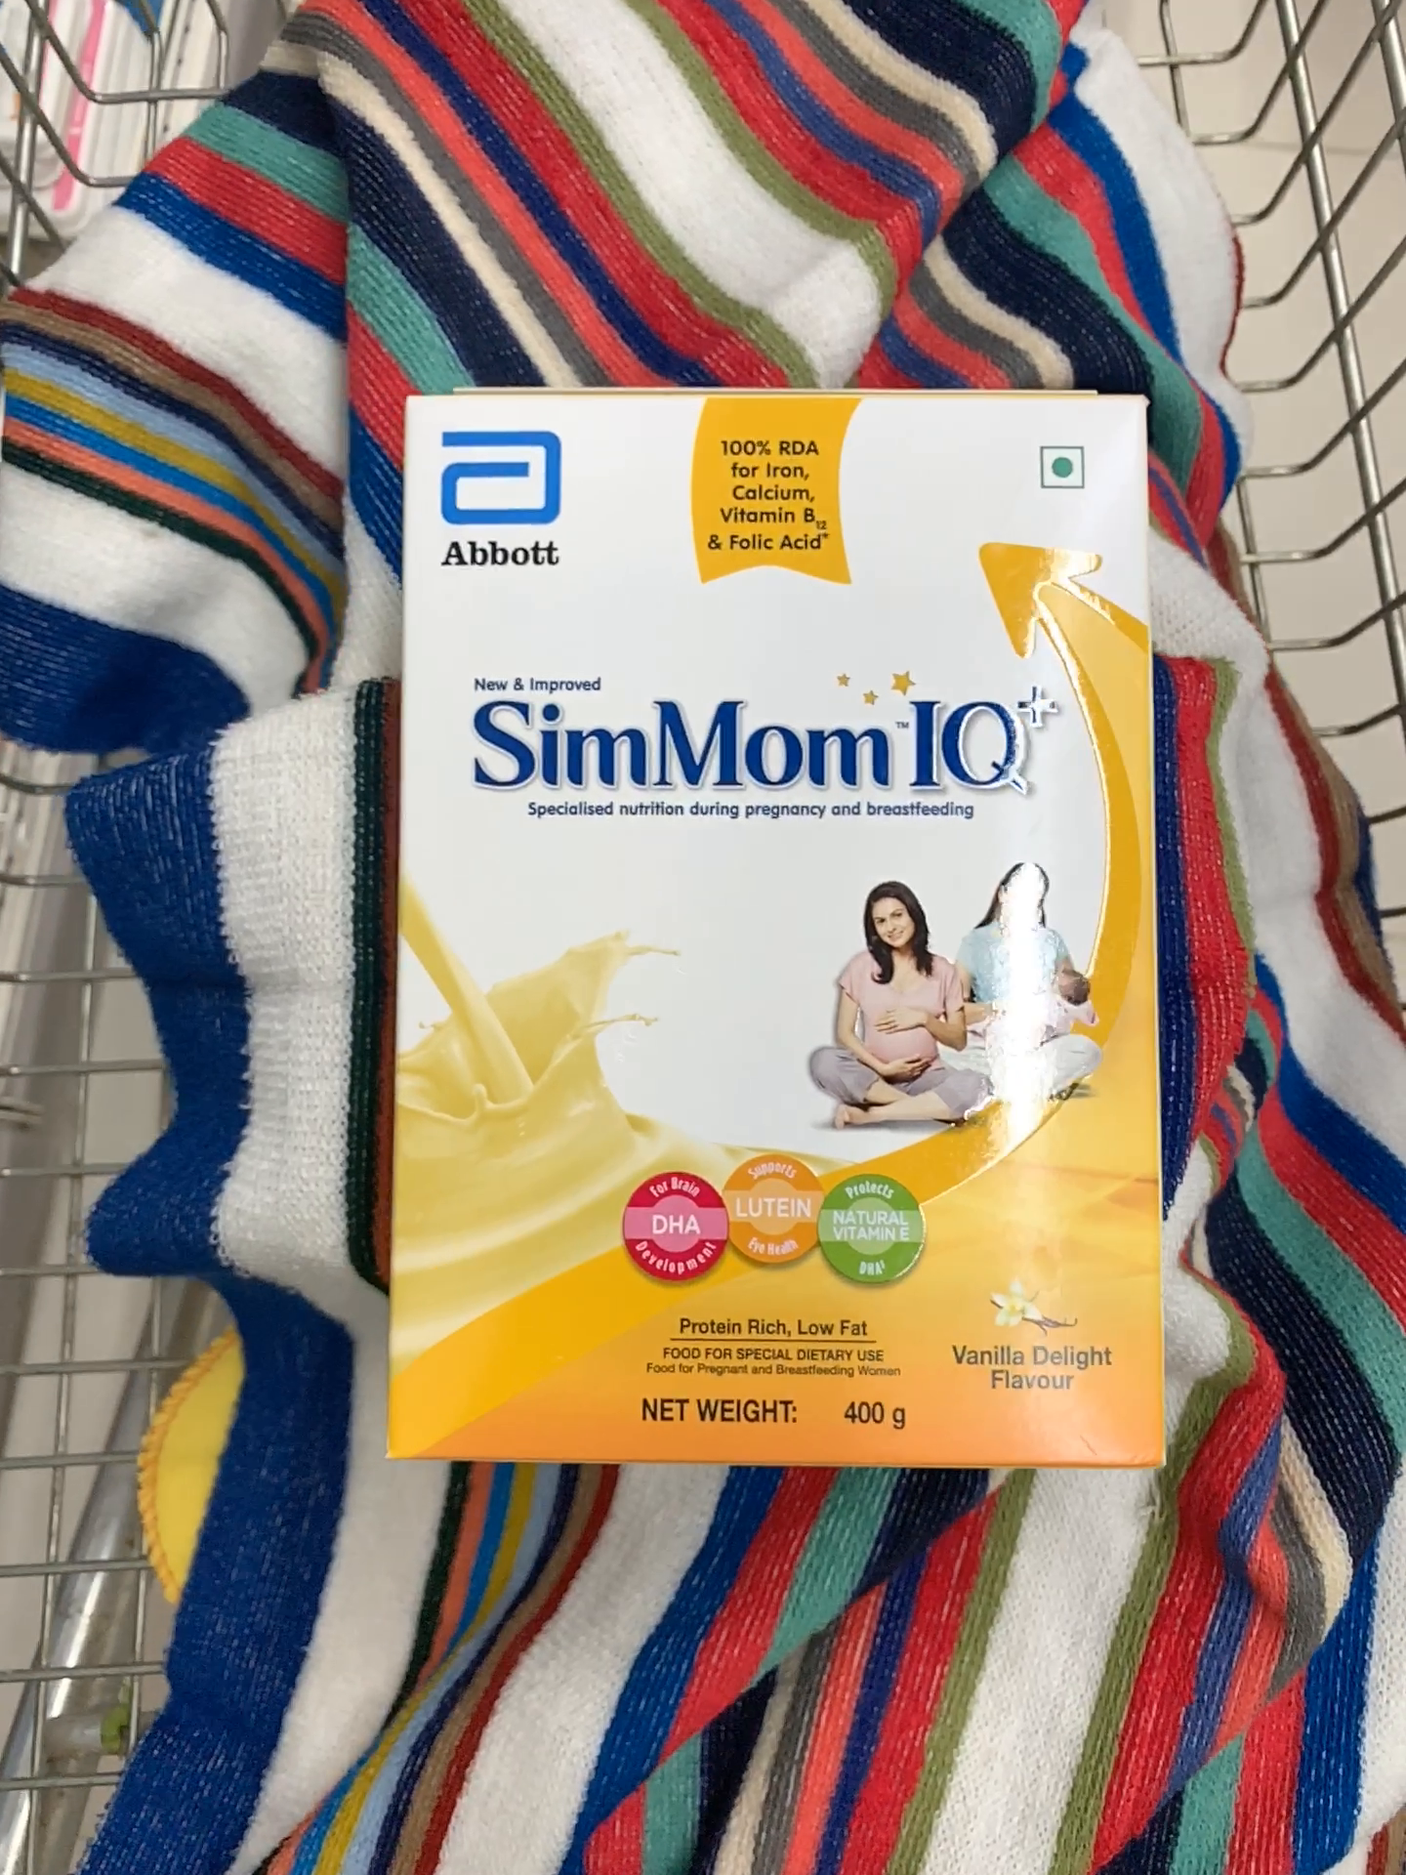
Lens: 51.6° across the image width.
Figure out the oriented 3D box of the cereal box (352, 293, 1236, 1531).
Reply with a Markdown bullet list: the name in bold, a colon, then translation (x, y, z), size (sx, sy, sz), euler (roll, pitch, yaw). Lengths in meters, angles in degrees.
- **cereal box**: translation (0.016, -0.005, 0.262), size (0.140, 0.050, 0.200), euler (1, 86, 0)
